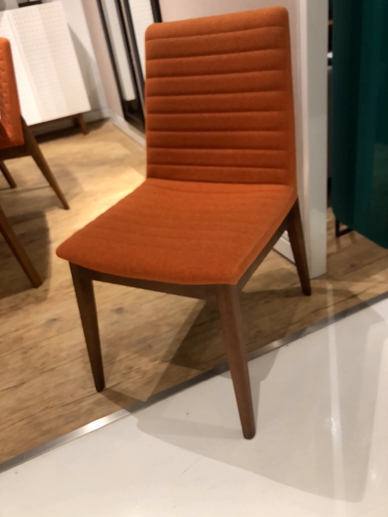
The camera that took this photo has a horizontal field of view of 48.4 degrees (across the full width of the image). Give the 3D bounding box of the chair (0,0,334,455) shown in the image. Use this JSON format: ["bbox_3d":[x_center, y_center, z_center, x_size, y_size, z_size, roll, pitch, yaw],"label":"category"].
[{"bbox_3d":[0.008,-0.113,1.086,0.531,0.814,0.634,7,35,26],"label":"chair"}]
